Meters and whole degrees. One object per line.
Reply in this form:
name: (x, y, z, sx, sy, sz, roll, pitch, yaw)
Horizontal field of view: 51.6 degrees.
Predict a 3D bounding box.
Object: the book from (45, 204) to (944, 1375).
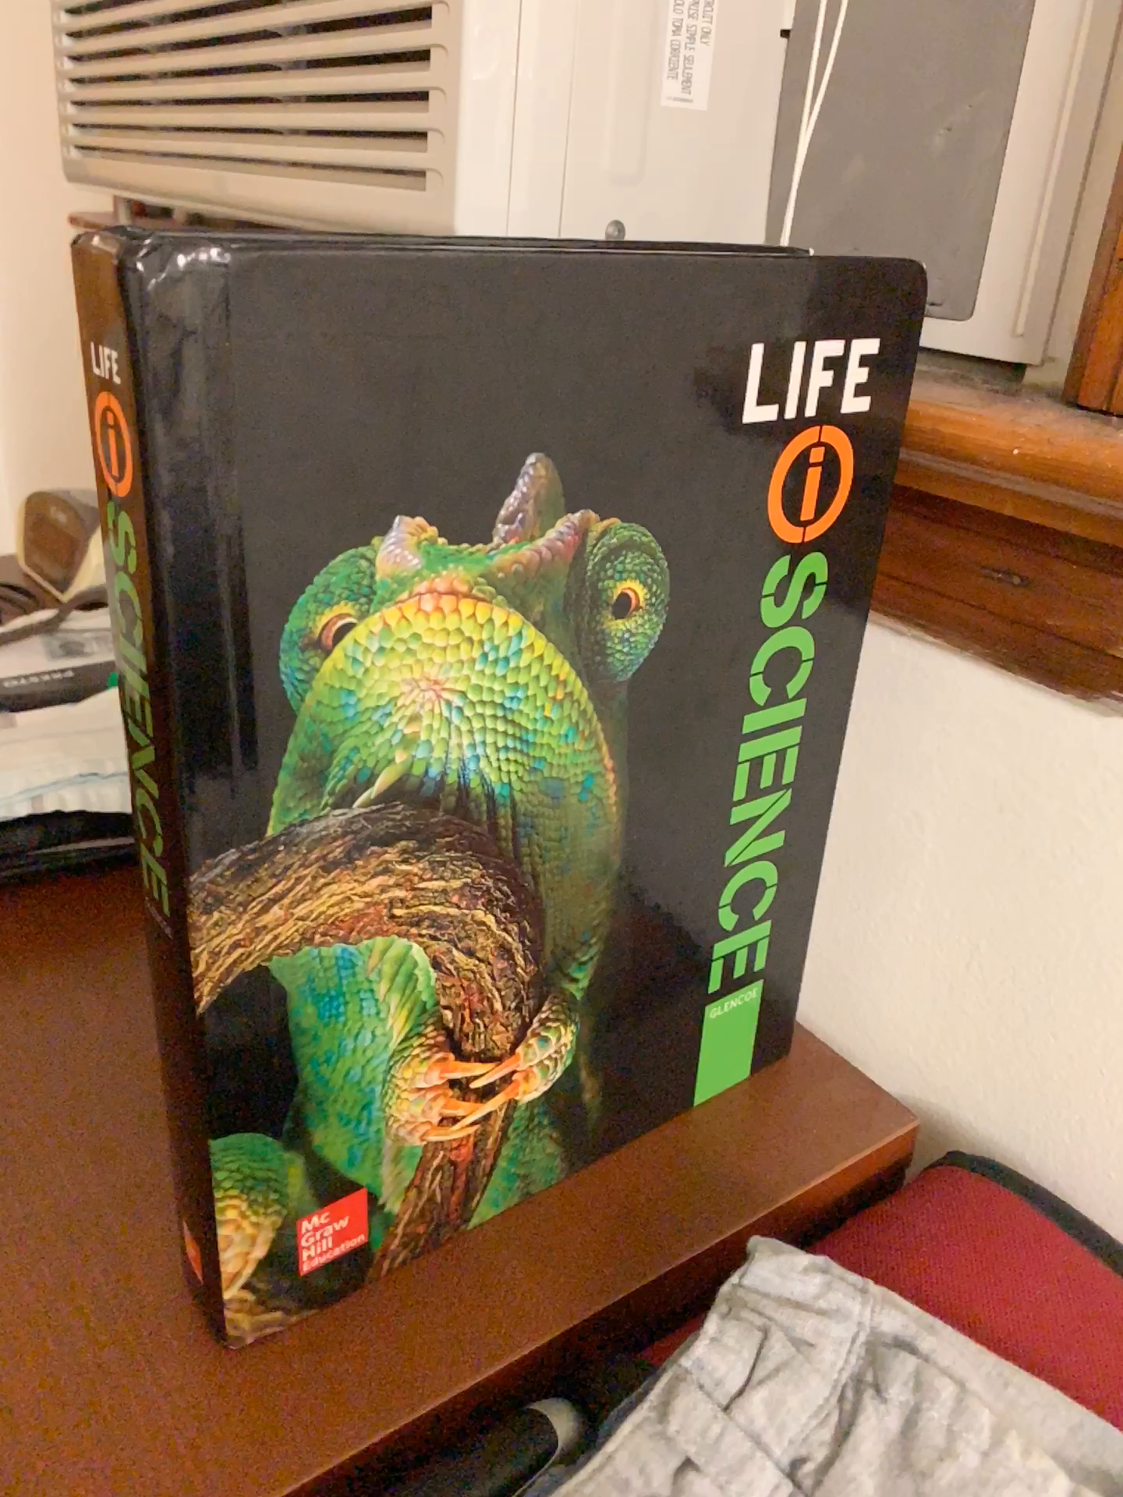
book: (-0.007, 0.006, 0.338, 0.227, 0.286, 0.051, -15, 31, -35)
